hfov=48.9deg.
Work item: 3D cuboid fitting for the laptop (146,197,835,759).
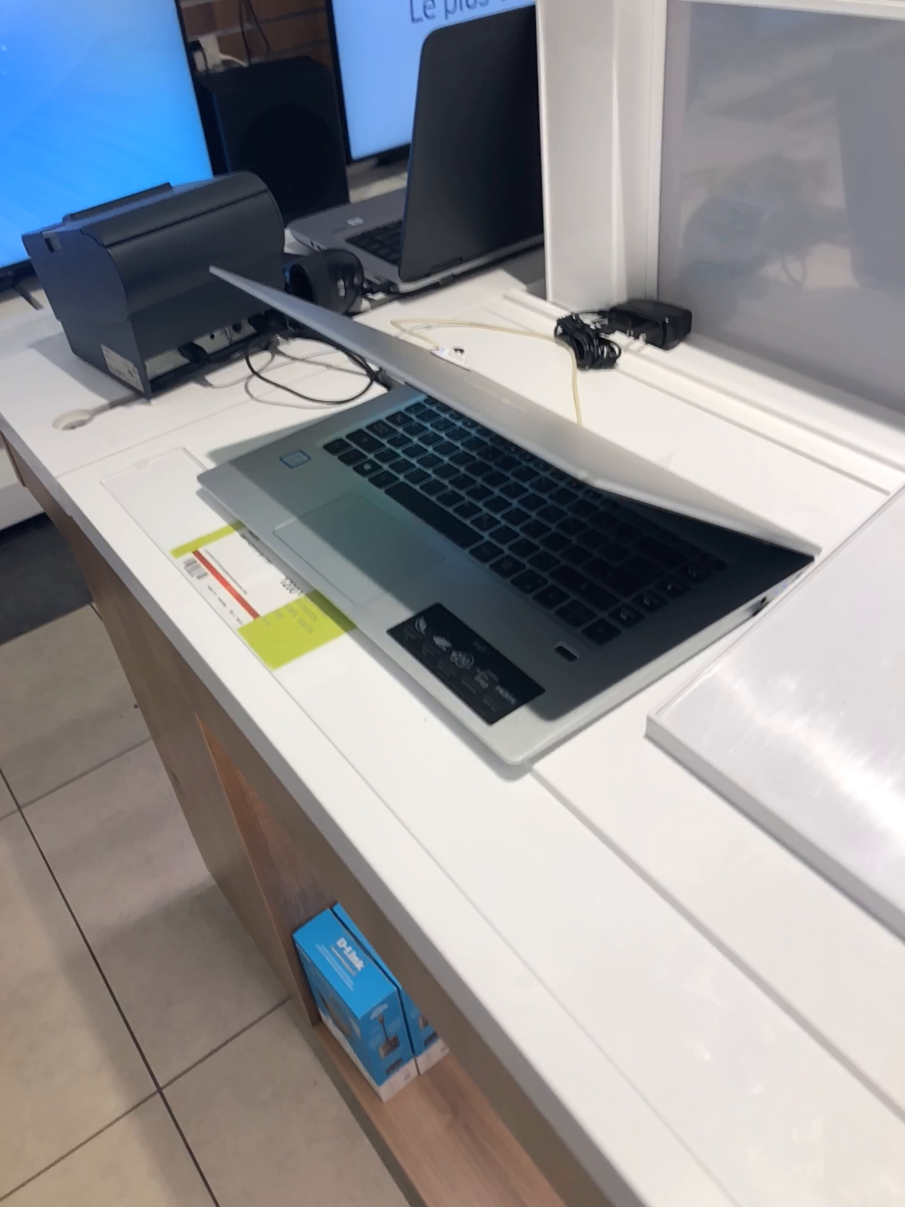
[{"bbox_3d":[0.003,-0.108,0.597,0.217,0.132,0.348,-30,45,-24],"label":"laptop"}]
